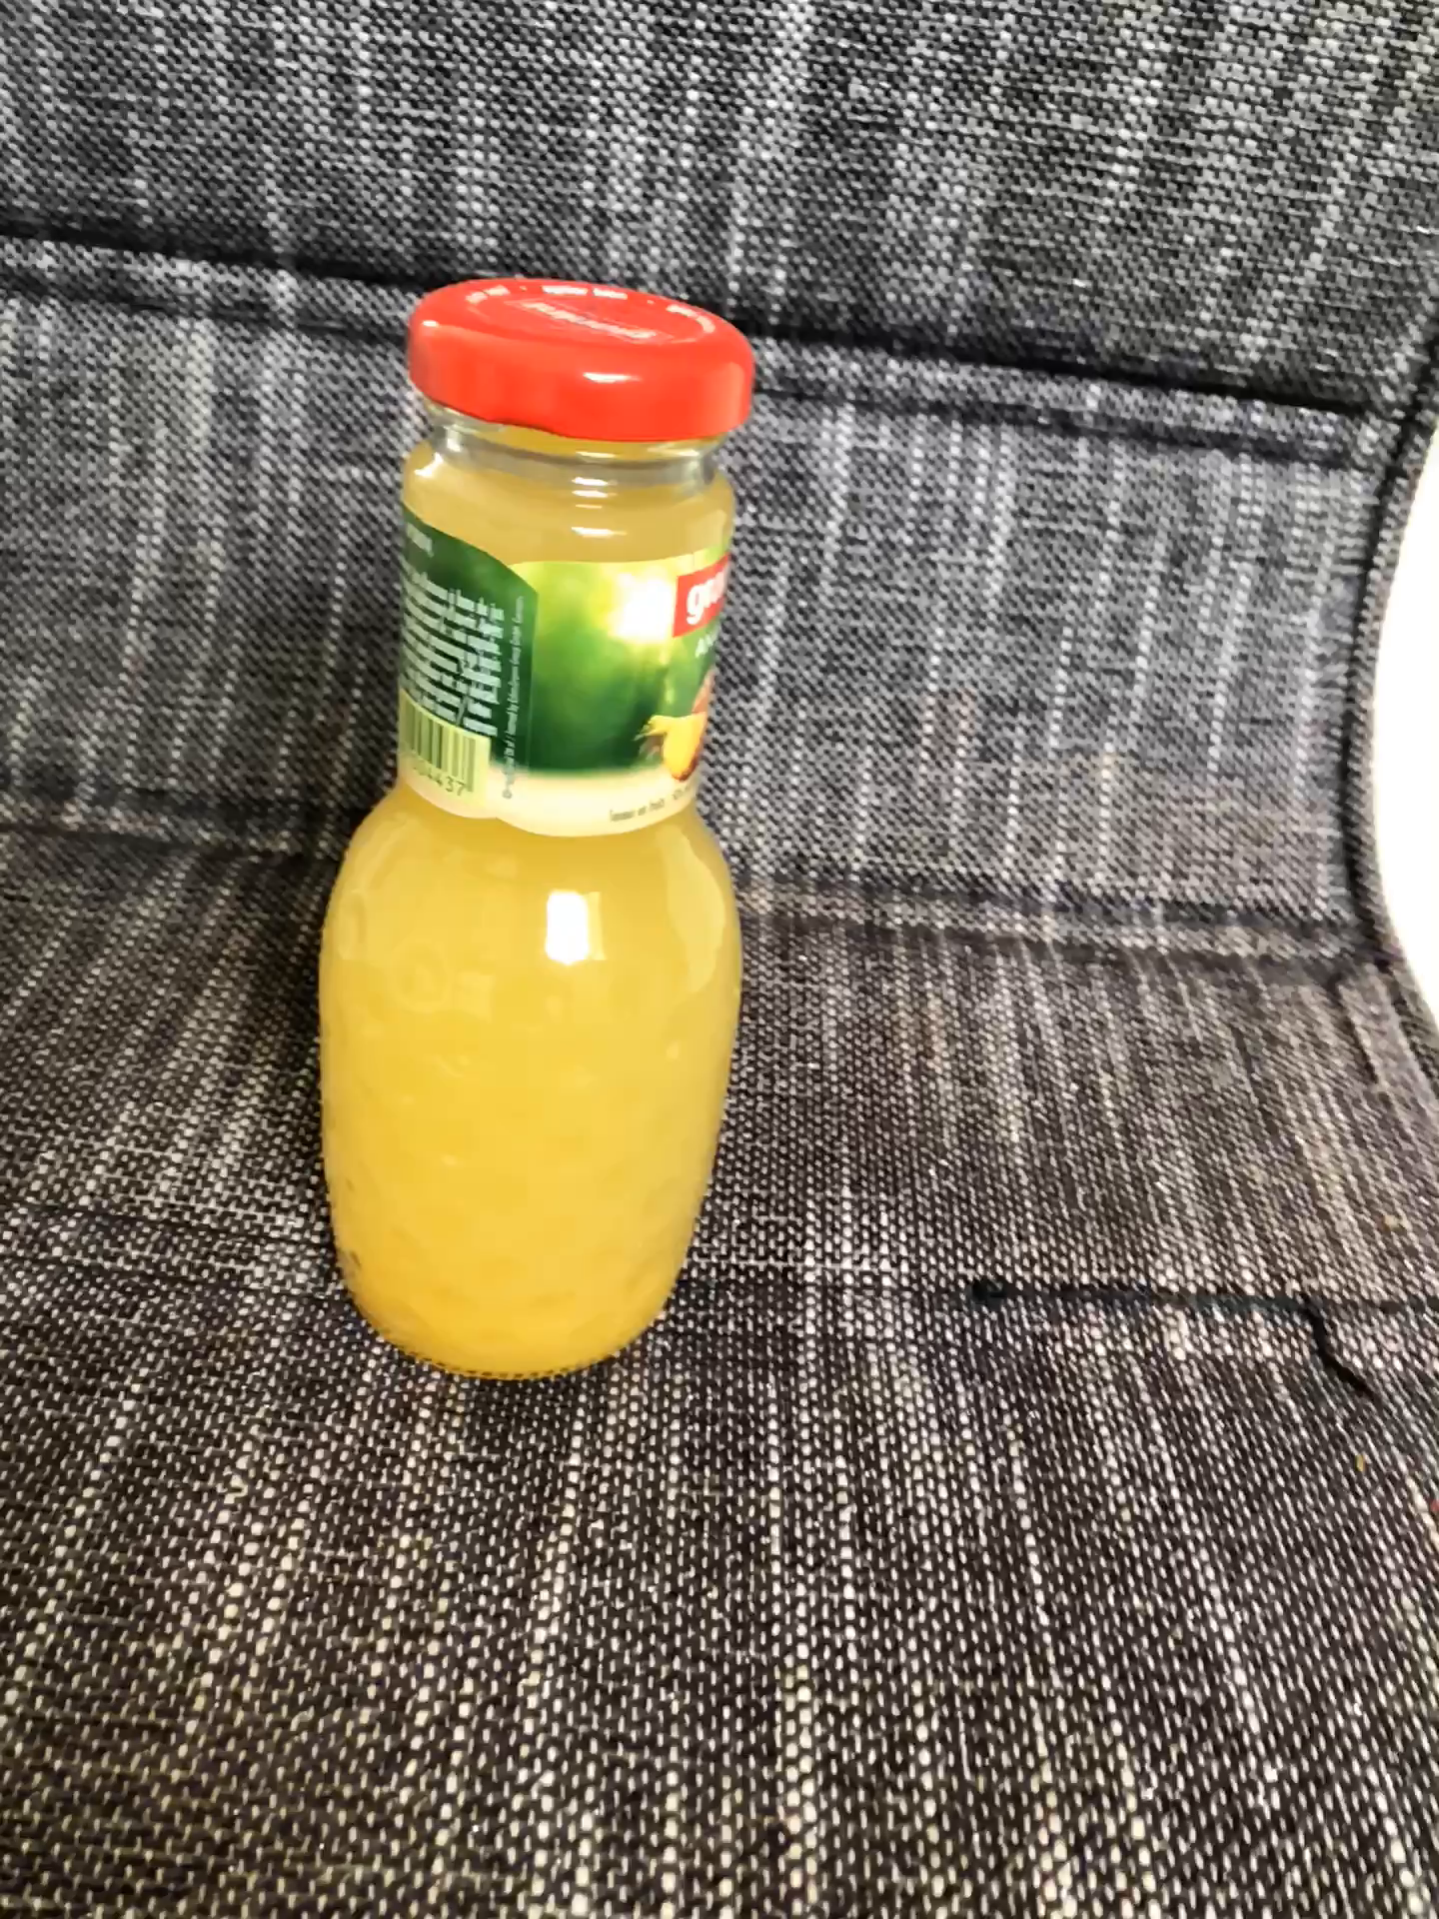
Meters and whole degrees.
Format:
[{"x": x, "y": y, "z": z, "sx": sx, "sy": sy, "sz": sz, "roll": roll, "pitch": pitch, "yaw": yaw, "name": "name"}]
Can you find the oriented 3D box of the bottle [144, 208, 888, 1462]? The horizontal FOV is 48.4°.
[{"x": -0.026, "y": -0.015, "z": 0.225, "sx": 0.070, "sy": 0.149, "sz": 0.070, "roll": 6, "pitch": 32, "yaw": -4, "name": "bottle"}]
